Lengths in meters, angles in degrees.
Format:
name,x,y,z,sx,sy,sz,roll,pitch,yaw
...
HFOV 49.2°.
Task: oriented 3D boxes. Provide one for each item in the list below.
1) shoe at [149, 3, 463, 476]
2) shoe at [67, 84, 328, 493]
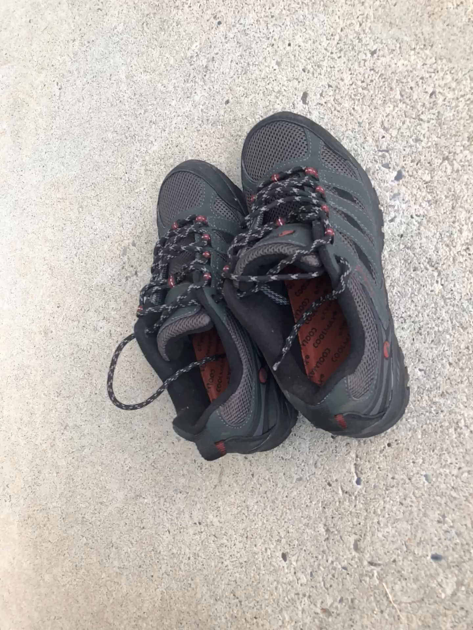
name,x,y,z,sx,sy,sz,roll,pitch,yaw
shoe,0.045,-0.051,0.393,0.120,0.109,0.300,-24,71,29
shoe,-0.041,-0.021,0.452,0.120,0.109,0.303,-24,71,29
